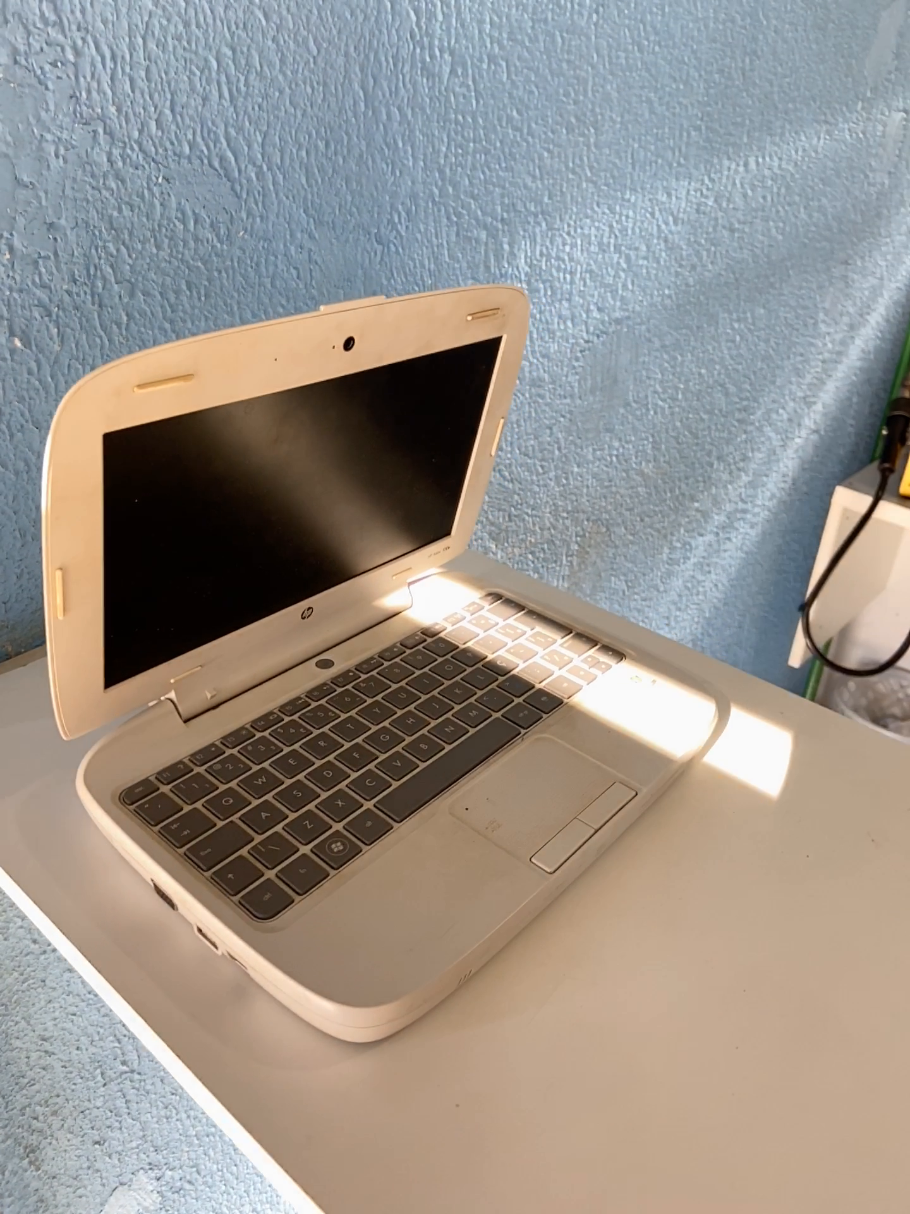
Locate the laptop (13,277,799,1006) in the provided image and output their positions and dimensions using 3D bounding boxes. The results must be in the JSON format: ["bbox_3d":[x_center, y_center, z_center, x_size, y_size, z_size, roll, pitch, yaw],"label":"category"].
[{"bbox_3d":[-0.008,-0.018,0.405,0.178,0.172,0.248,26,38,33],"label":"laptop"}]
